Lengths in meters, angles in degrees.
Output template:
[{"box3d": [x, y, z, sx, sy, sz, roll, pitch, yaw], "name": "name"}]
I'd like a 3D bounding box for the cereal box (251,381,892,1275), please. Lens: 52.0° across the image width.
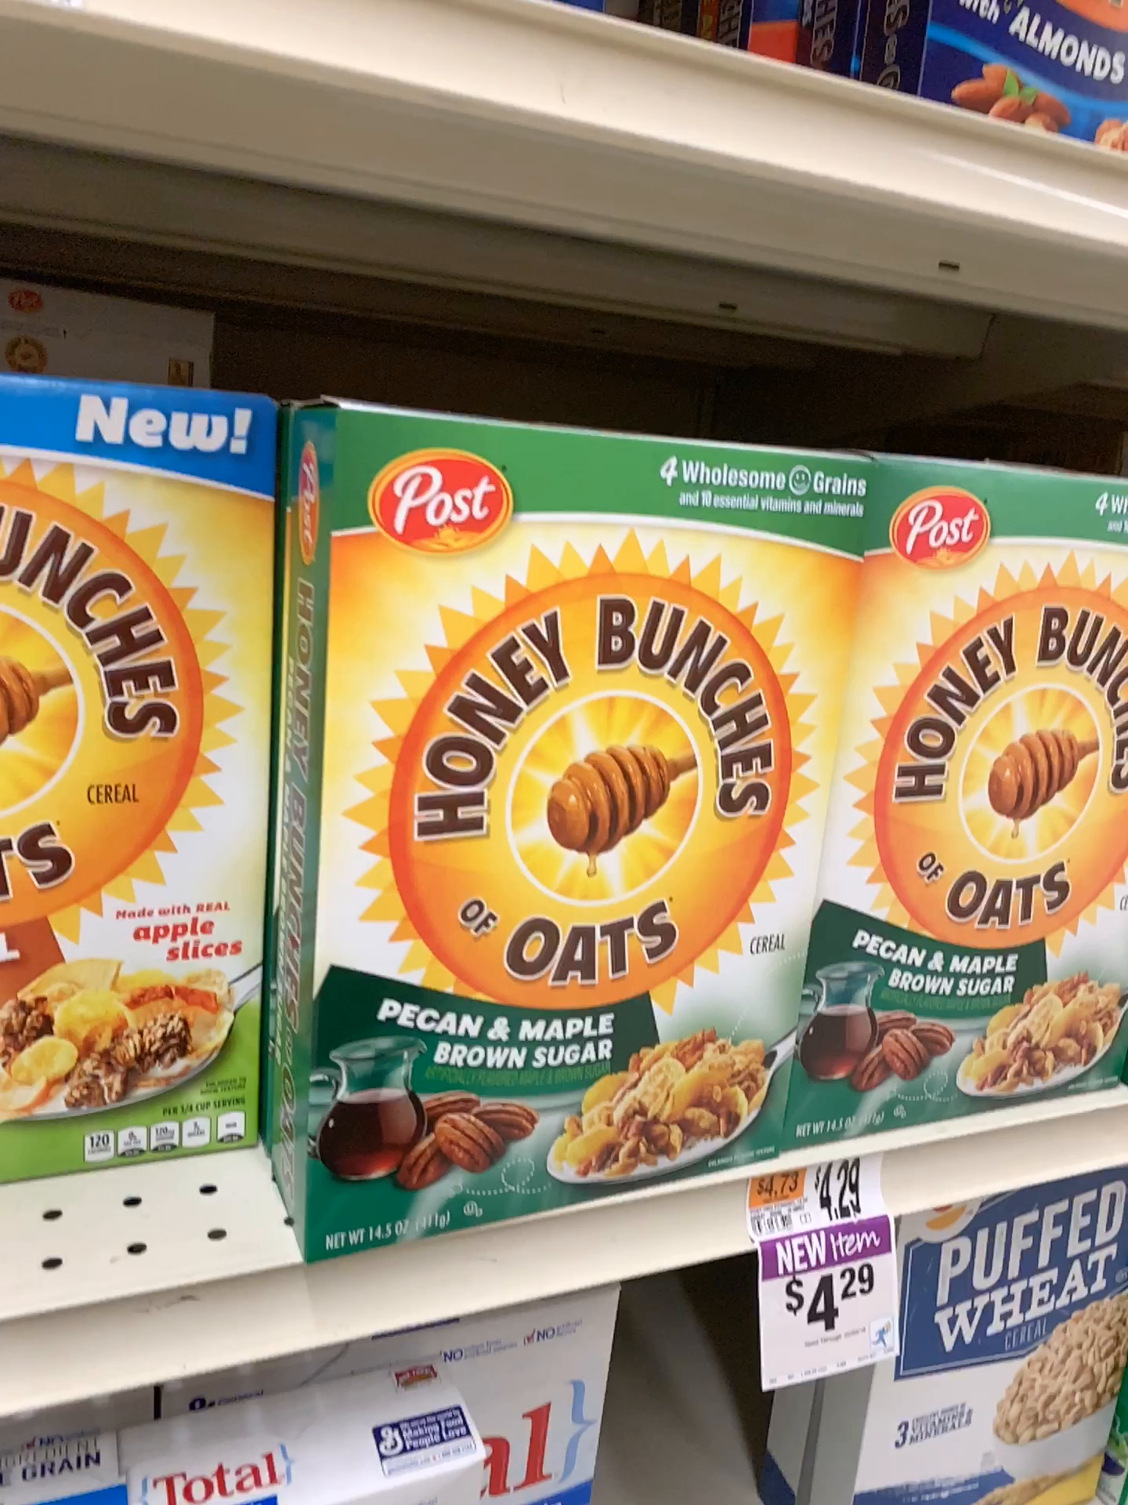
[{"box3d": [-0.001, 0.024, 0.416, 0.200, 0.279, 0.060, -2, 15, -28], "name": "cereal box"}]
